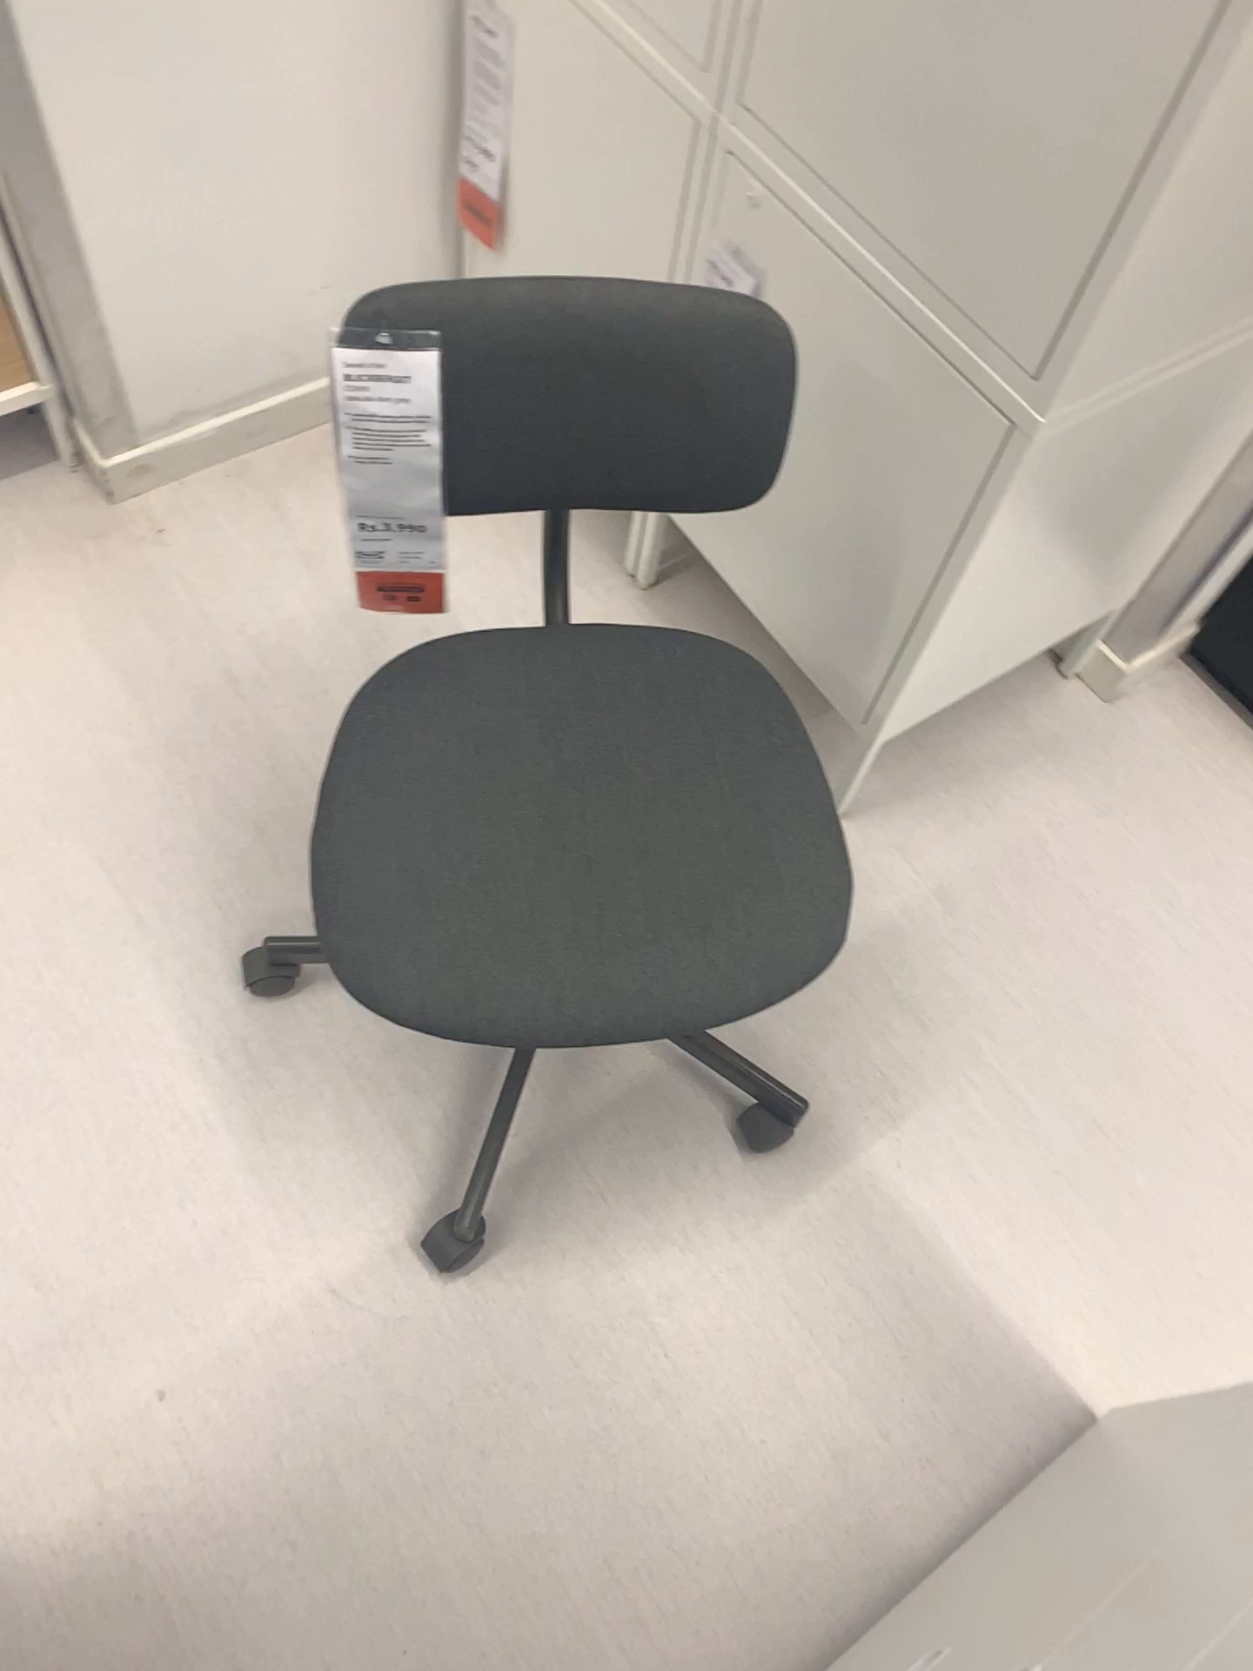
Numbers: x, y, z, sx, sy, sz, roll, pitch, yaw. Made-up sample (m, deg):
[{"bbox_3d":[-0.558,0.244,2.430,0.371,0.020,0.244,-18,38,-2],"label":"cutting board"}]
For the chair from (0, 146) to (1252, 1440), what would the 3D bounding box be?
[{"bbox_3d":[-0.038,-0.007,1.191,0.720,0.679,0.711,35,63,12],"label":"chair"}]
